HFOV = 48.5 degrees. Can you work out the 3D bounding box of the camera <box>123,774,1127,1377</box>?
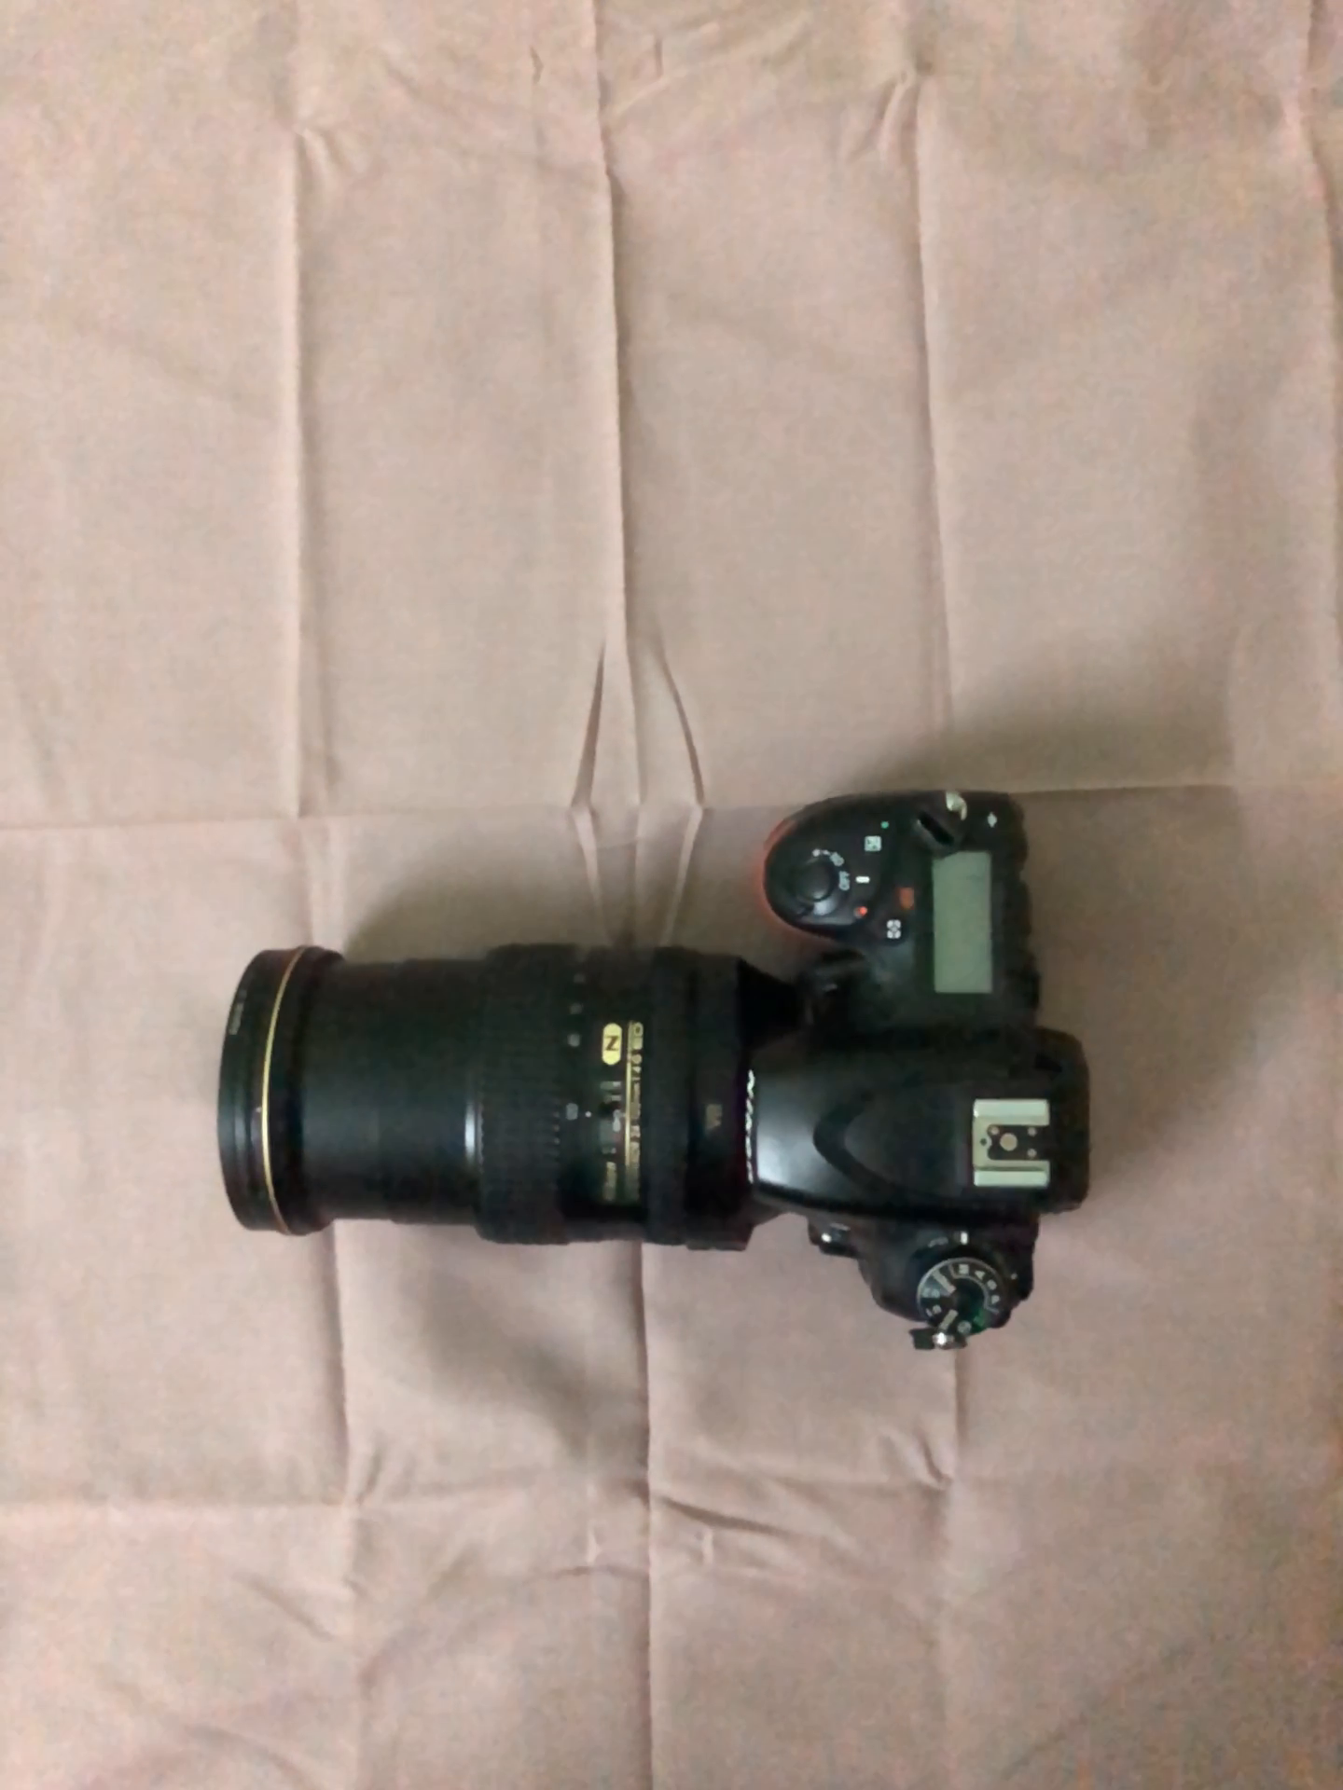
[{"bbox_3d":[-0.011,0.042,0.400,0.231,0.110,0.139,0,90,1],"label":"camera"}]
